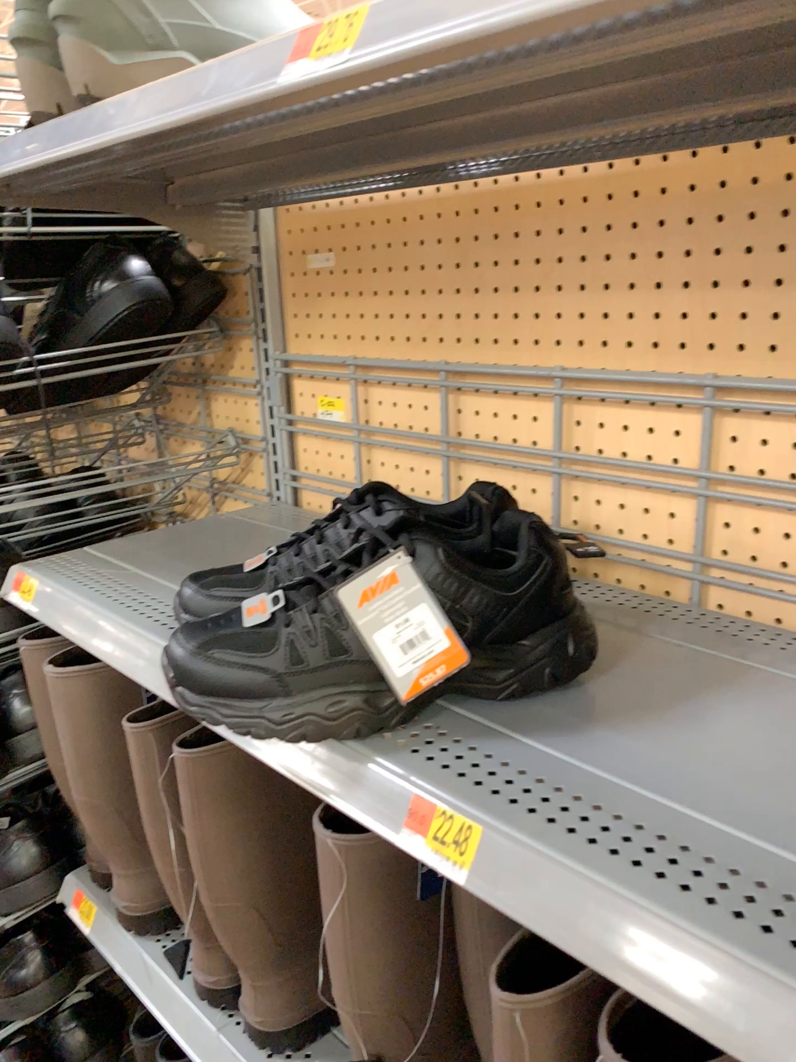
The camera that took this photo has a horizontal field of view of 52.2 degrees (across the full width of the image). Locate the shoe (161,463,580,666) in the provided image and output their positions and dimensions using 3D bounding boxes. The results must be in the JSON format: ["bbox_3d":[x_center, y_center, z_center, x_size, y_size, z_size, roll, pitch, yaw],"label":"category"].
[{"bbox_3d":[-0.022,0.019,0.652,0.296,0.104,0.139,-3,16,-6],"label":"shoe"}]

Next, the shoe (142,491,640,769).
[{"bbox_3d":[-0.009,0.052,0.545,0.296,0.104,0.136,-6,17,-14],"label":"shoe"}]
